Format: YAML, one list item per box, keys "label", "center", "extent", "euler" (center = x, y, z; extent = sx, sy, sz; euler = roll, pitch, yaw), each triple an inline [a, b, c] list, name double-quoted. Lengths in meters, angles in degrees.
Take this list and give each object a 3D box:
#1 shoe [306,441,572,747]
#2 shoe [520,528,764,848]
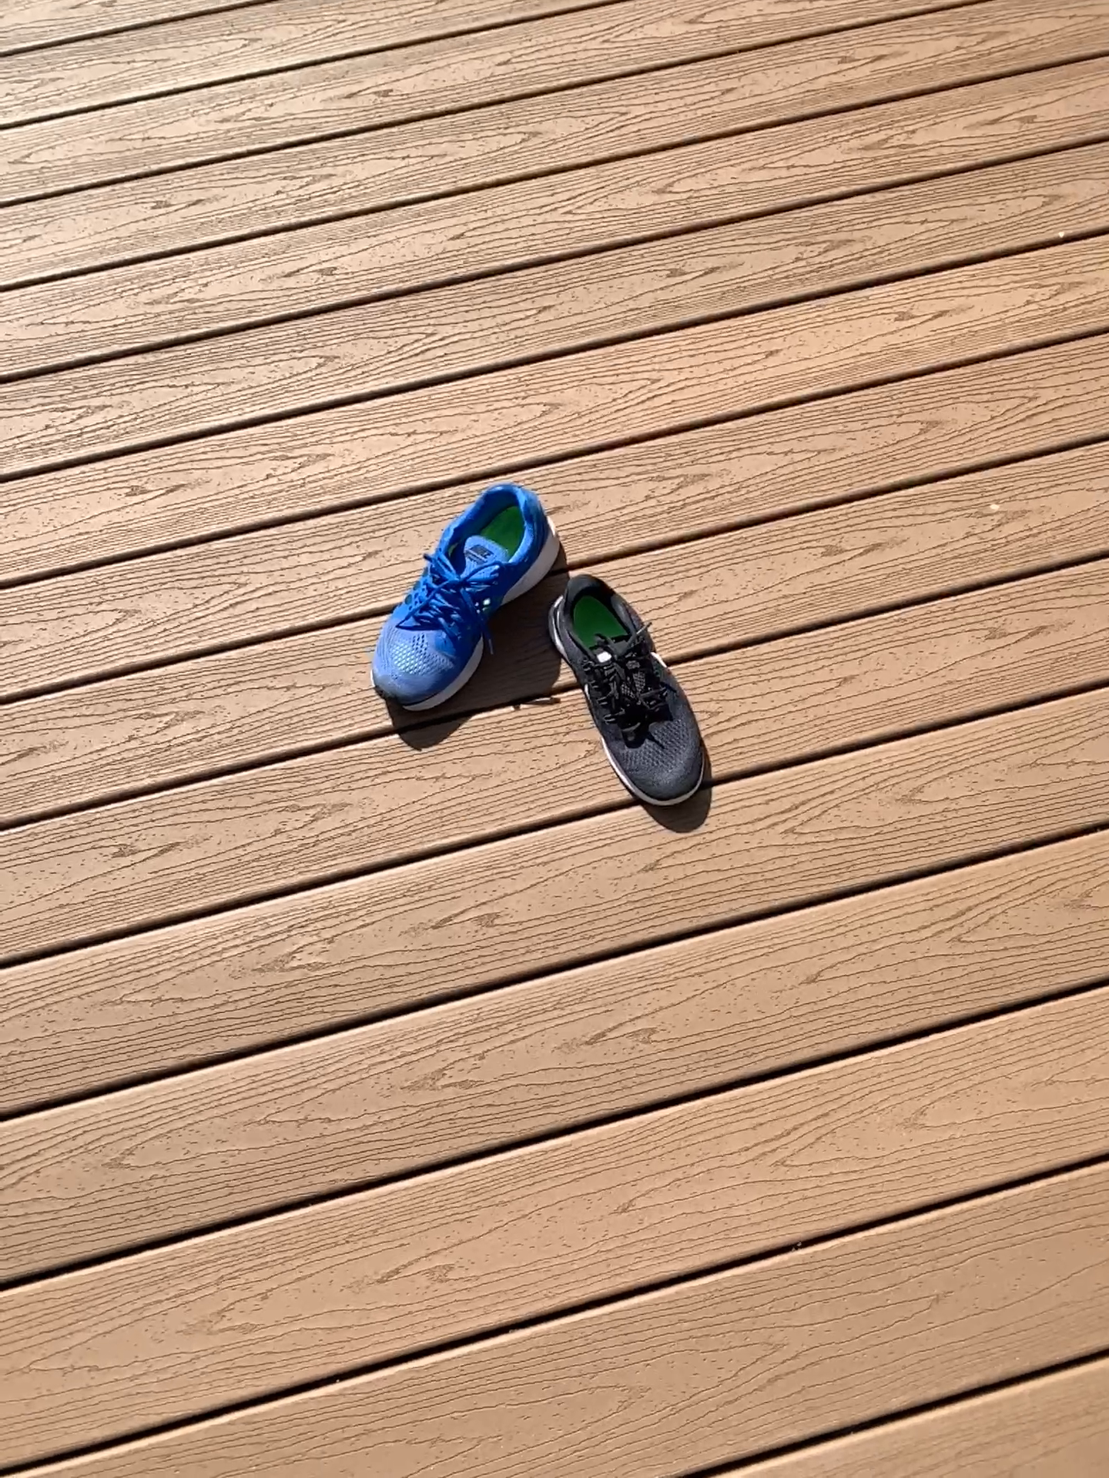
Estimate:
- label: "shoe"
  center: [-0.116, -0.157, 1.229]
  extent: [0.120, 0.130, 0.290]
  euler: [34, 73, 15]
- label: "shoe"
  center: [0.083, -0.054, 1.164]
  extent: [0.120, 0.110, 0.290]
  euler: [-25, 69, -8]
